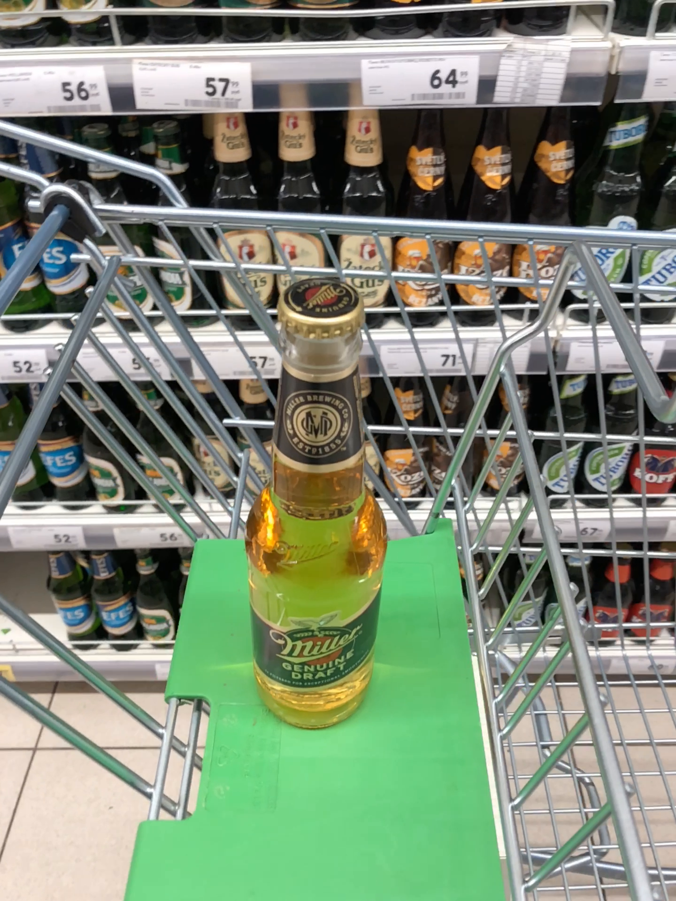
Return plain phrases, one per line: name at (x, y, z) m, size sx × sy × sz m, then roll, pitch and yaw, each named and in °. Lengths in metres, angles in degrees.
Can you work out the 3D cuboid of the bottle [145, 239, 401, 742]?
bottle at (-0.013, 0.029, 0.300) m, size 0.070 × 0.209 × 0.070 m, roll -1°, pitch 41°, yaw 1°
